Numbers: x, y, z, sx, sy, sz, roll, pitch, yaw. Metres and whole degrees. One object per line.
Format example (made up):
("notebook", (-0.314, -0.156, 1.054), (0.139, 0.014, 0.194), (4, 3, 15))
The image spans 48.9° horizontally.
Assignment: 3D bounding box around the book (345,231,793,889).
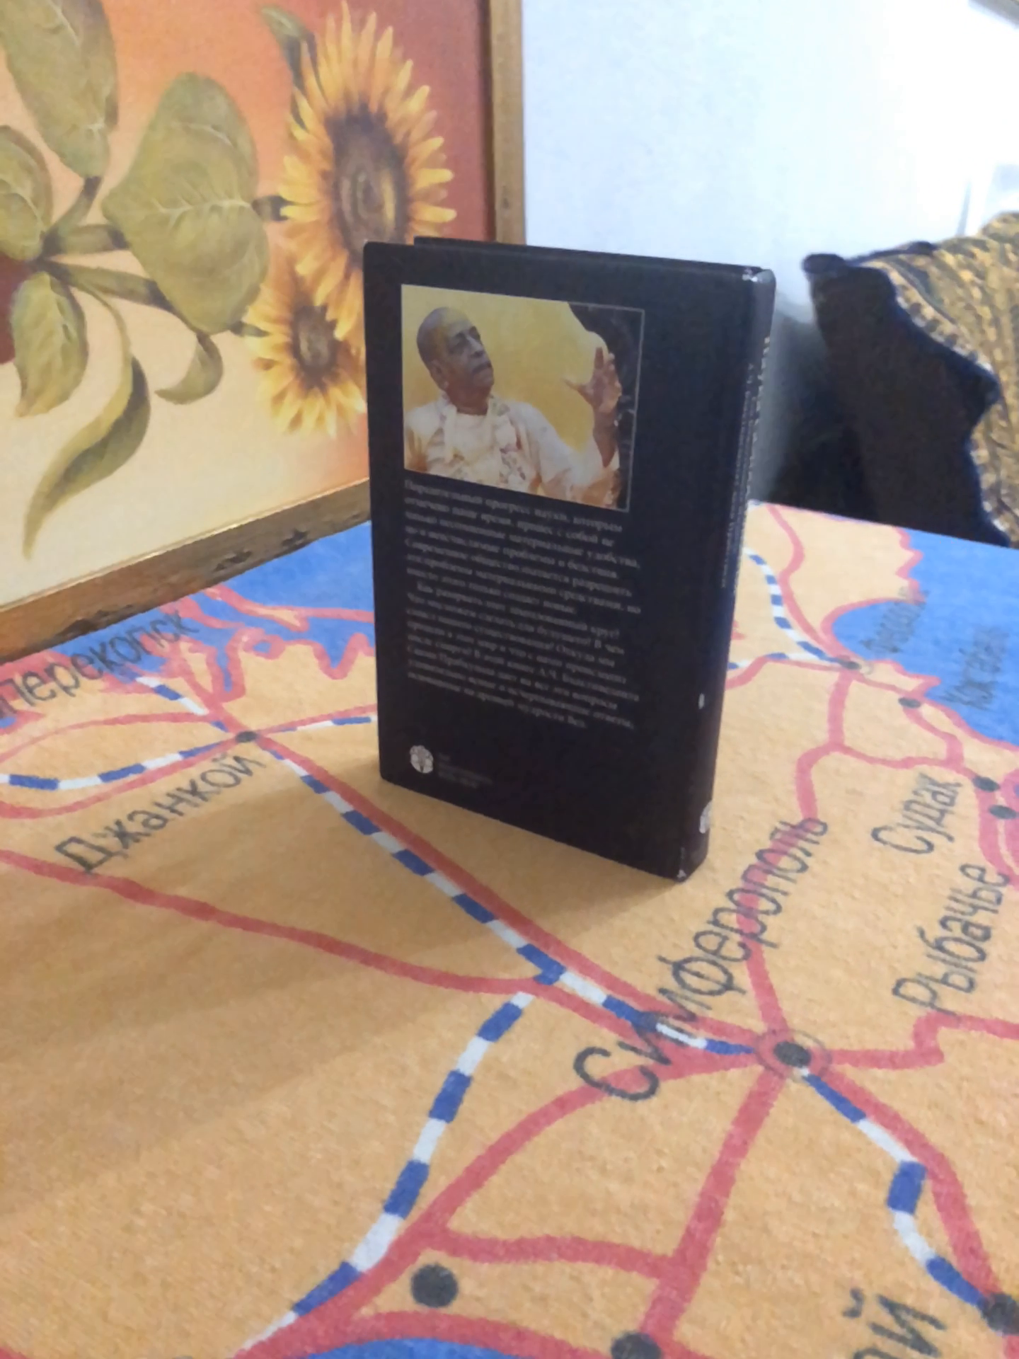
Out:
("book", (0.012, -0.041, 0.391), (0.140, 0.205, 0.030), (16, 30, 26))
